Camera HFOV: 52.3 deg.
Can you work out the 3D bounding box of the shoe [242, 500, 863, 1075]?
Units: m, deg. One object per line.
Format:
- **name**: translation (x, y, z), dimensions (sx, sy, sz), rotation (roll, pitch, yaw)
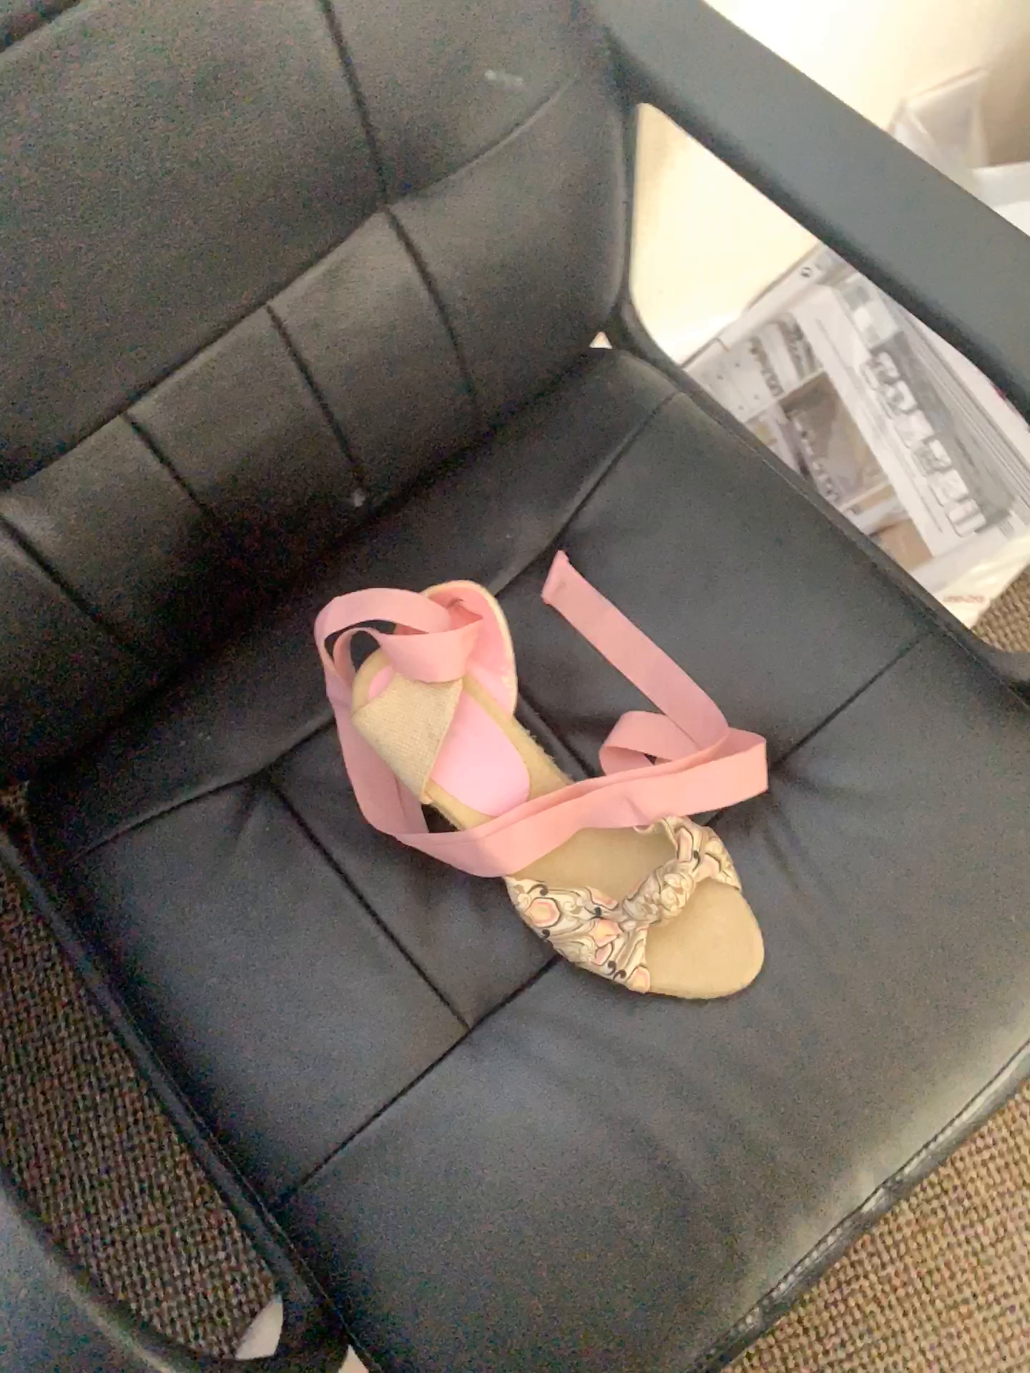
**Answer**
- **shoe**: translation (0.013, 0.053, 0.520), dimensions (0.271, 0.140, 0.100), rotation (40, 78, 15)
